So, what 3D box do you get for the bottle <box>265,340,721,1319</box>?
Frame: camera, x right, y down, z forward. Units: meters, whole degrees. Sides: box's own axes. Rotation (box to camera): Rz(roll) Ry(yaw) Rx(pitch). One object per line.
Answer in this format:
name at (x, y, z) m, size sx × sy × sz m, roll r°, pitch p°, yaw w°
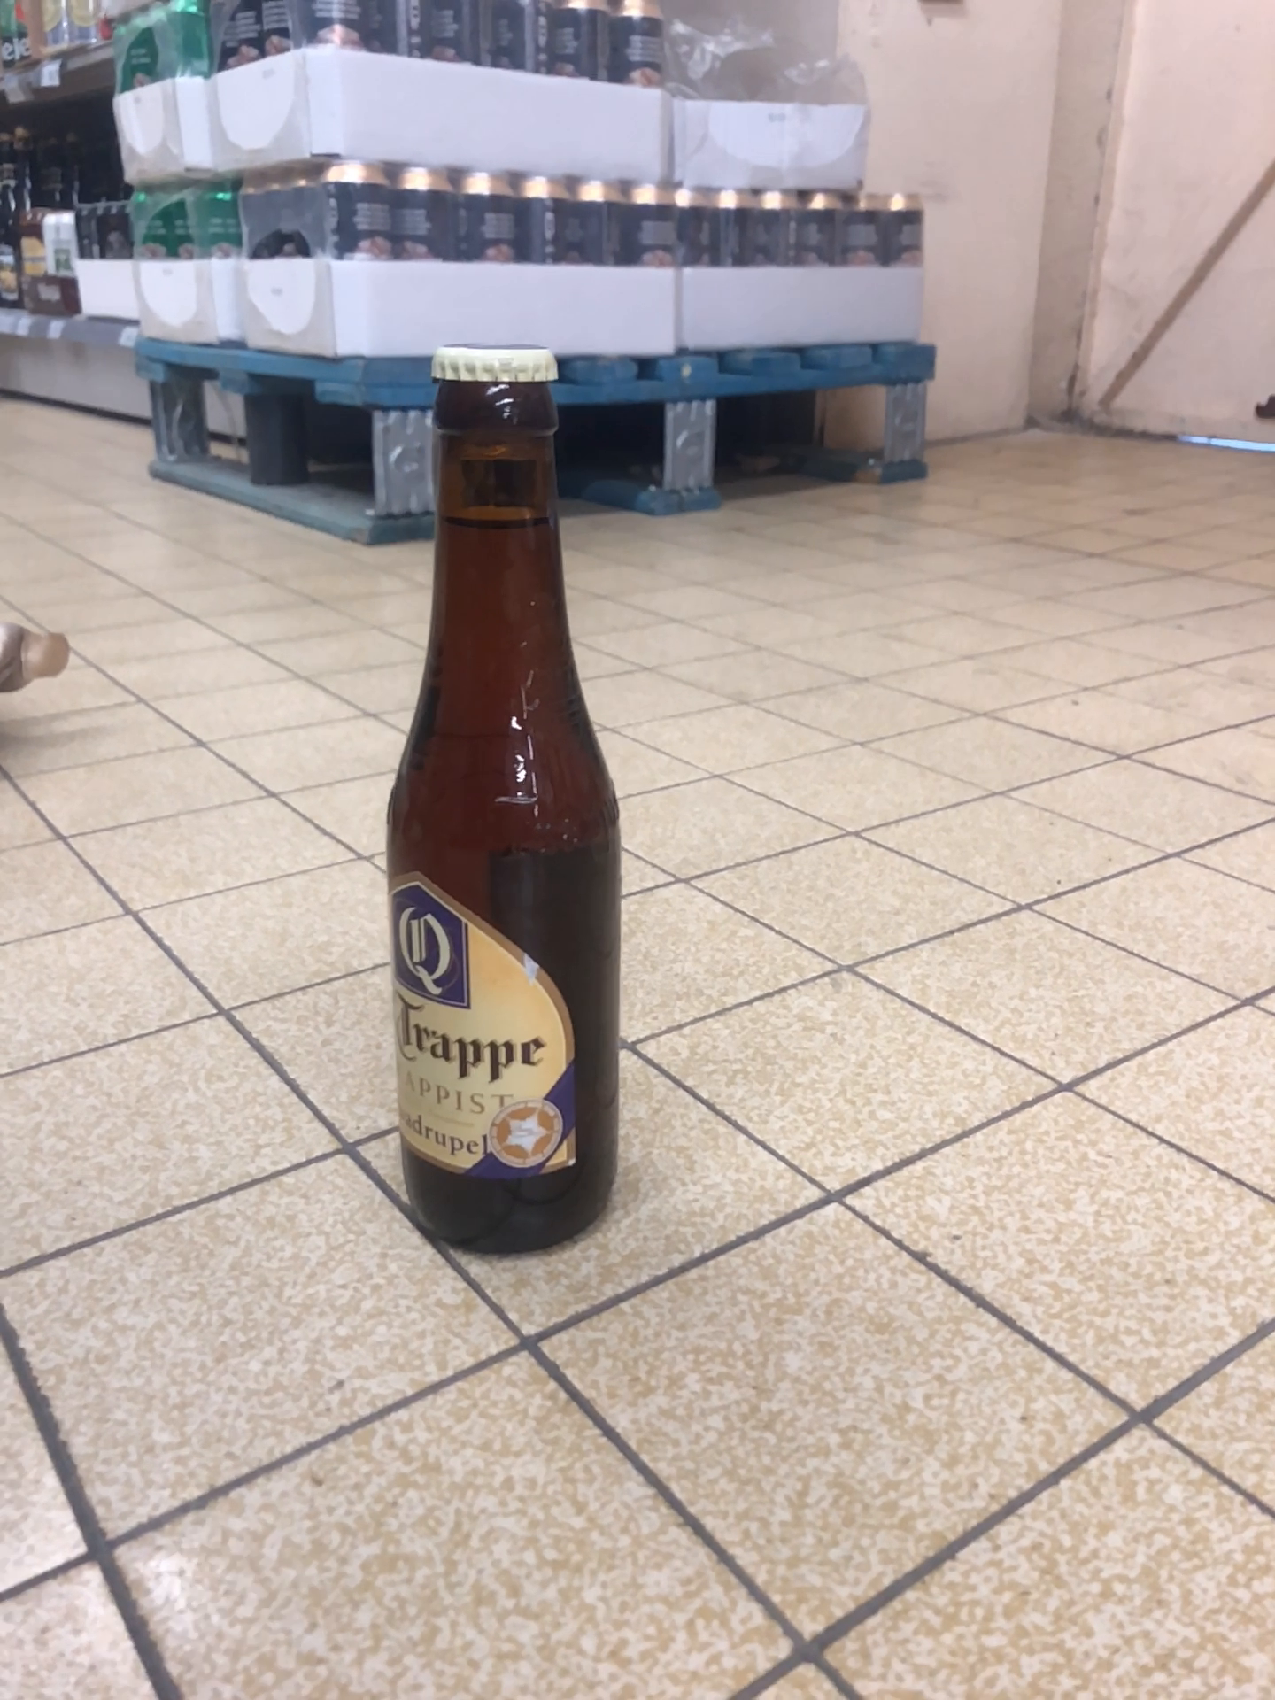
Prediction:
bottle at (-0.032, -0.008, 0.345) m, size 0.070 × 0.219 × 0.070 m, roll 1°, pitch 21°, yaw 0°
